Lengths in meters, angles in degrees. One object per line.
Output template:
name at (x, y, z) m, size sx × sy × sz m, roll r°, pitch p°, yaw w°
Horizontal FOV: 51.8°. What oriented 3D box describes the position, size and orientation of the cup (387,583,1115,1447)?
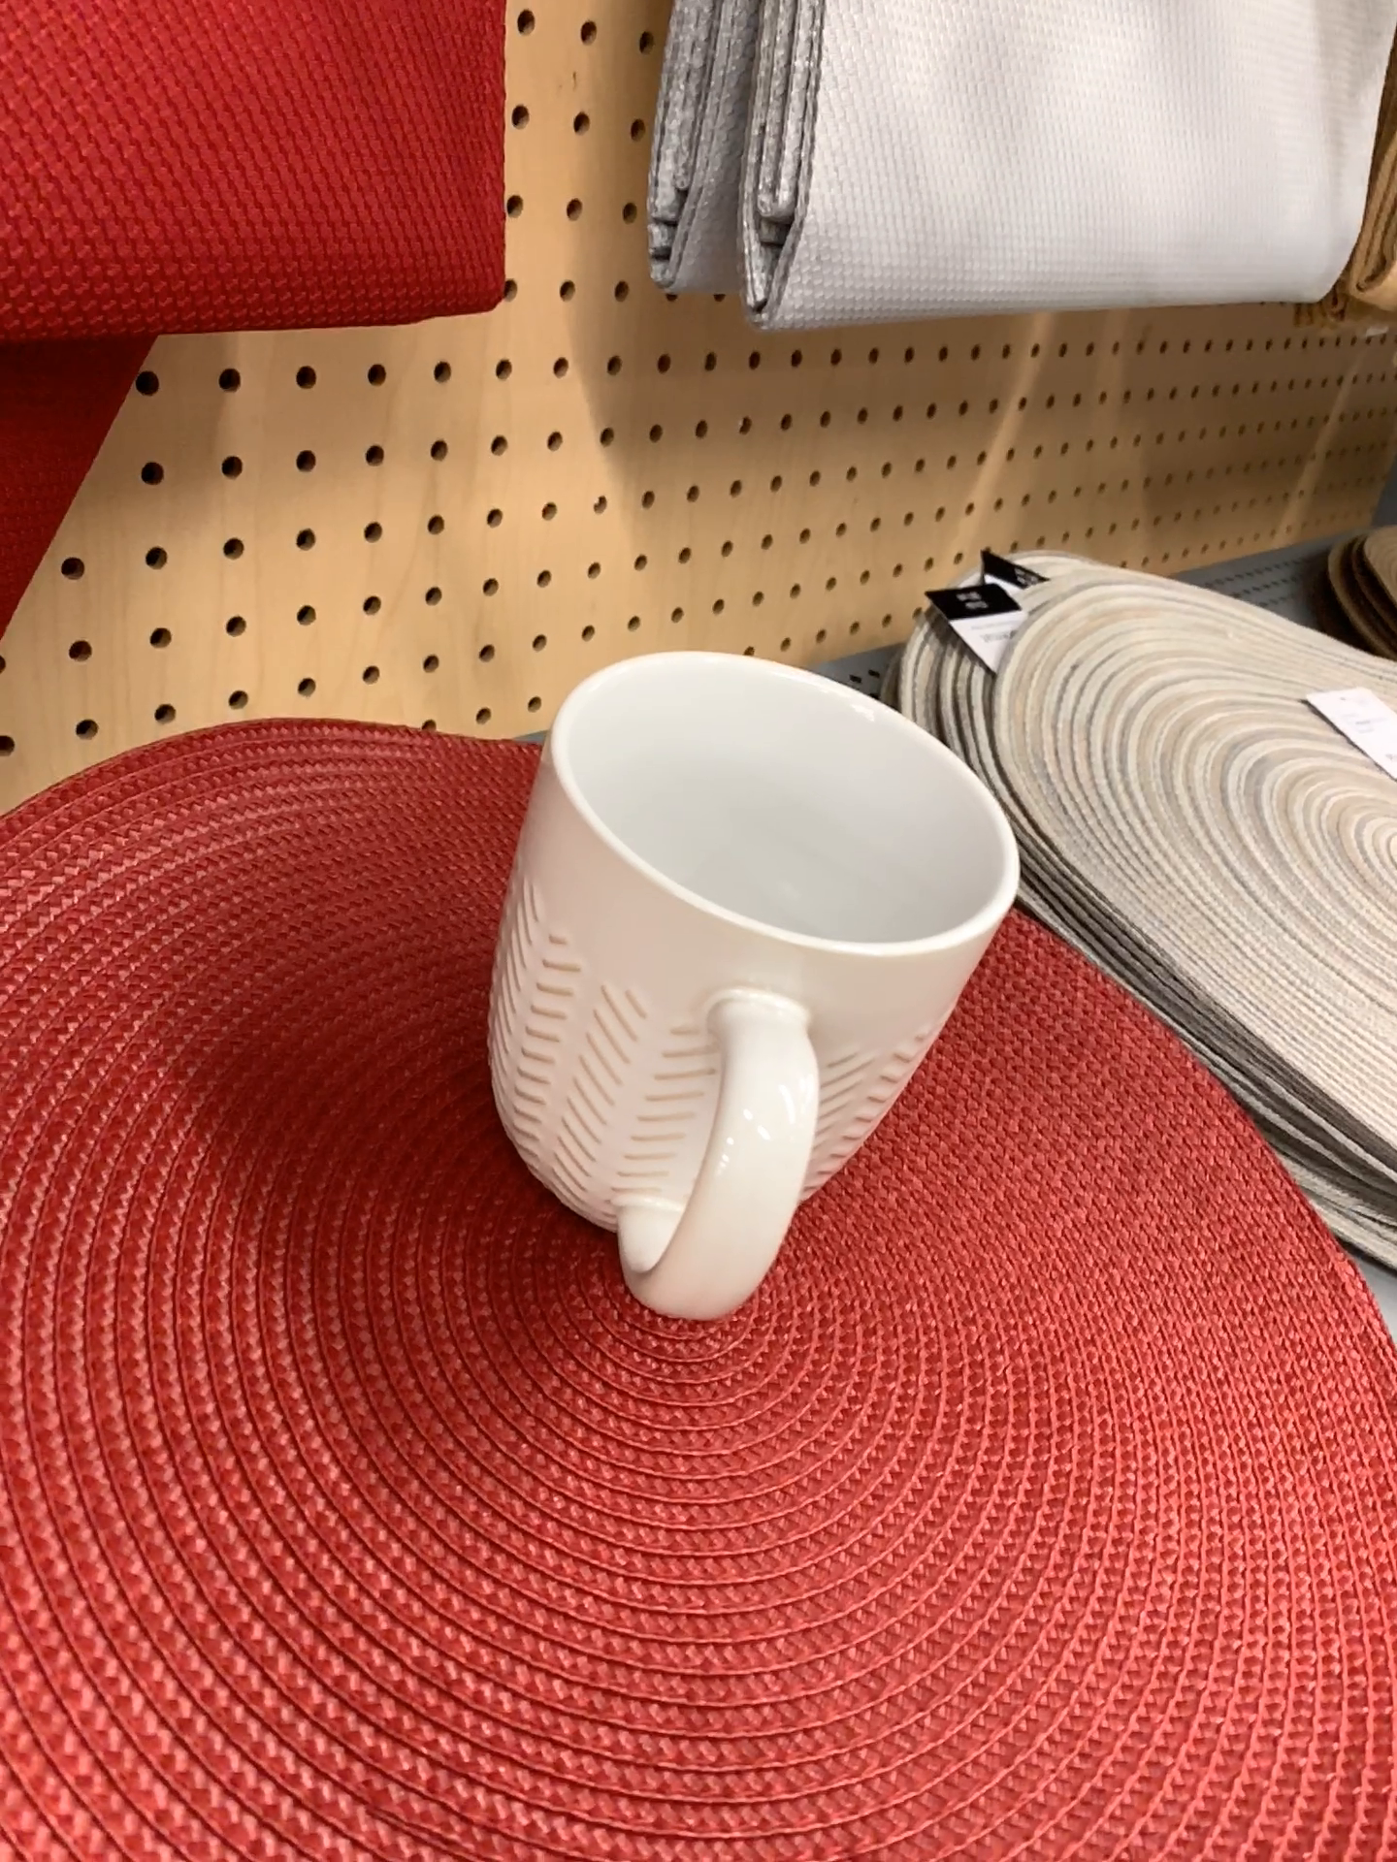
cup at (0.006, 0.008, 0.280) m, size 0.100 × 0.089 × 0.141 m, roll 5°, pitch 38°, yaw -2°
